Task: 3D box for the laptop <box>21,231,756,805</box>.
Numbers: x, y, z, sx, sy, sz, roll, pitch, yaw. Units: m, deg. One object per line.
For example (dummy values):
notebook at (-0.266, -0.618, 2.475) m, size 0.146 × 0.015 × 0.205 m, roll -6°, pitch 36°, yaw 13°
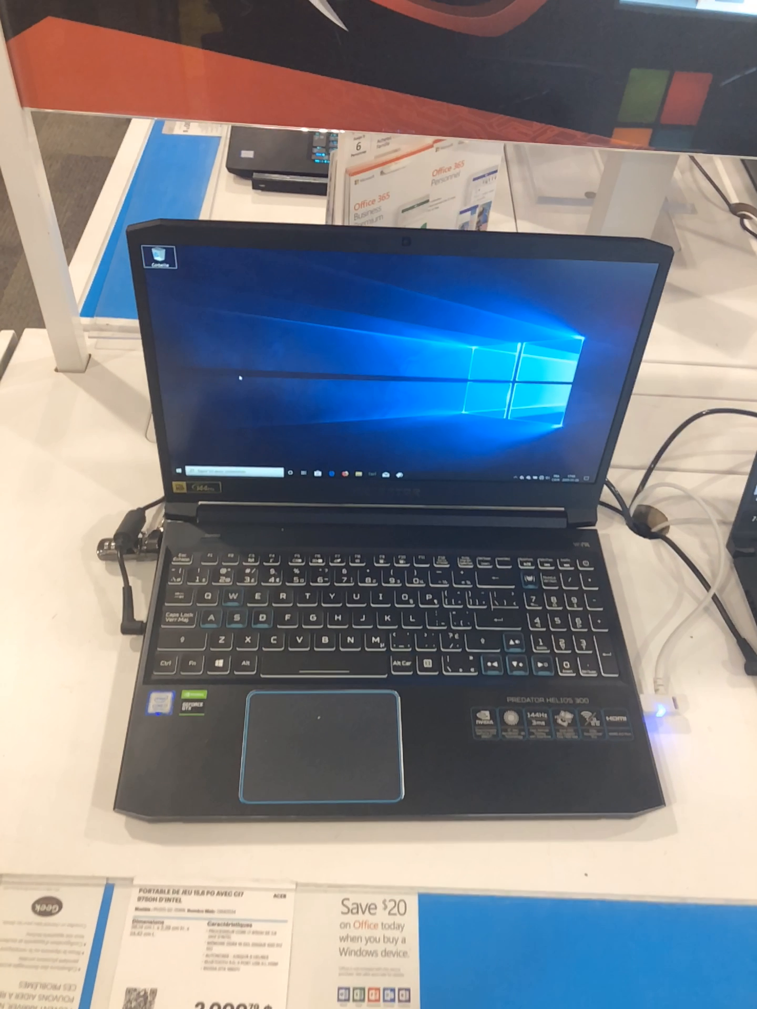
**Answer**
laptop at (0.015, 0.011, 0.531) m, size 0.348 × 0.230 × 0.274 m, roll 1°, pitch 51°, yaw -3°
